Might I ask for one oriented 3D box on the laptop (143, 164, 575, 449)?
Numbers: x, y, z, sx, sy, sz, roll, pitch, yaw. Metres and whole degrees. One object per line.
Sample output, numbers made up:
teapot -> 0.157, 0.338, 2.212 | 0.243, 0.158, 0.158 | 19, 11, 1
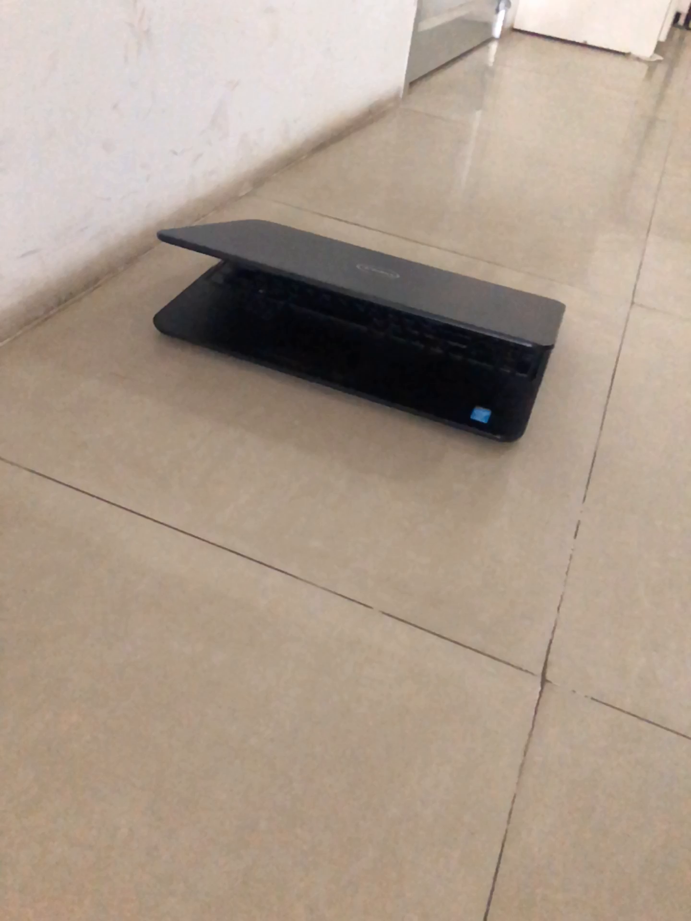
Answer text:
laptop -> 0.025, -0.171, 0.754 | 0.357, 0.078, 0.249 | 19, 42, 10
